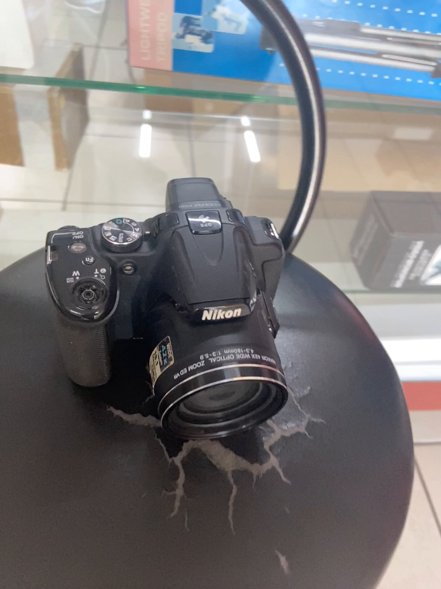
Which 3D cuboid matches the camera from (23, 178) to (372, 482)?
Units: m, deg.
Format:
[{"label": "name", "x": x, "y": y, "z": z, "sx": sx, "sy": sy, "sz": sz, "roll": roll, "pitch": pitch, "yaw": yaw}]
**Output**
[{"label": "camera", "x": -0.020, "y": 0.008, "z": 0.232, "sx": 0.130, "sy": 0.070, "sz": 0.121, "roll": -6, "pitch": 48, "yaw": -13}]
